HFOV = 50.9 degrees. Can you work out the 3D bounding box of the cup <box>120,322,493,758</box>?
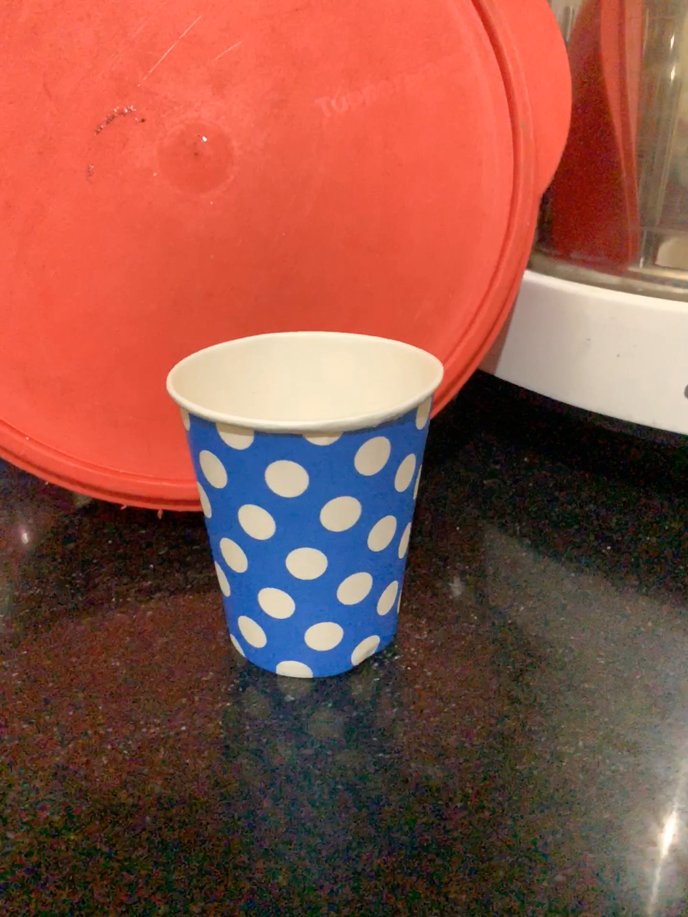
[{"bbox_3d":[-0.013,0.014,0.196,0.070,0.079,0.070,0,25,0],"label":"cup"}]
